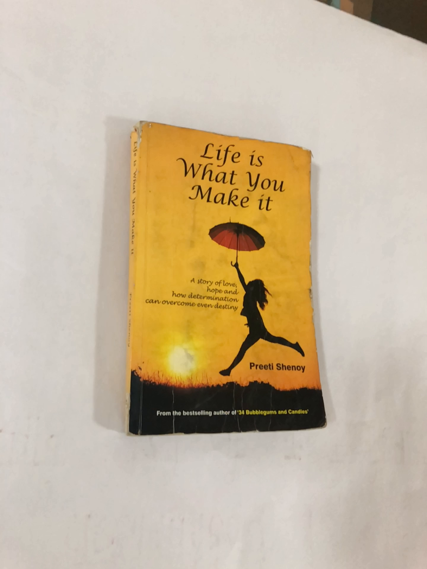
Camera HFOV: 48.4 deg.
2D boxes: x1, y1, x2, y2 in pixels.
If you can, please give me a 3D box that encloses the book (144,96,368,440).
[{"bbox_3d":[0.027,-0.011,0.312,0.140,0.020,0.210,5,74,-21],"label":"book"}]
